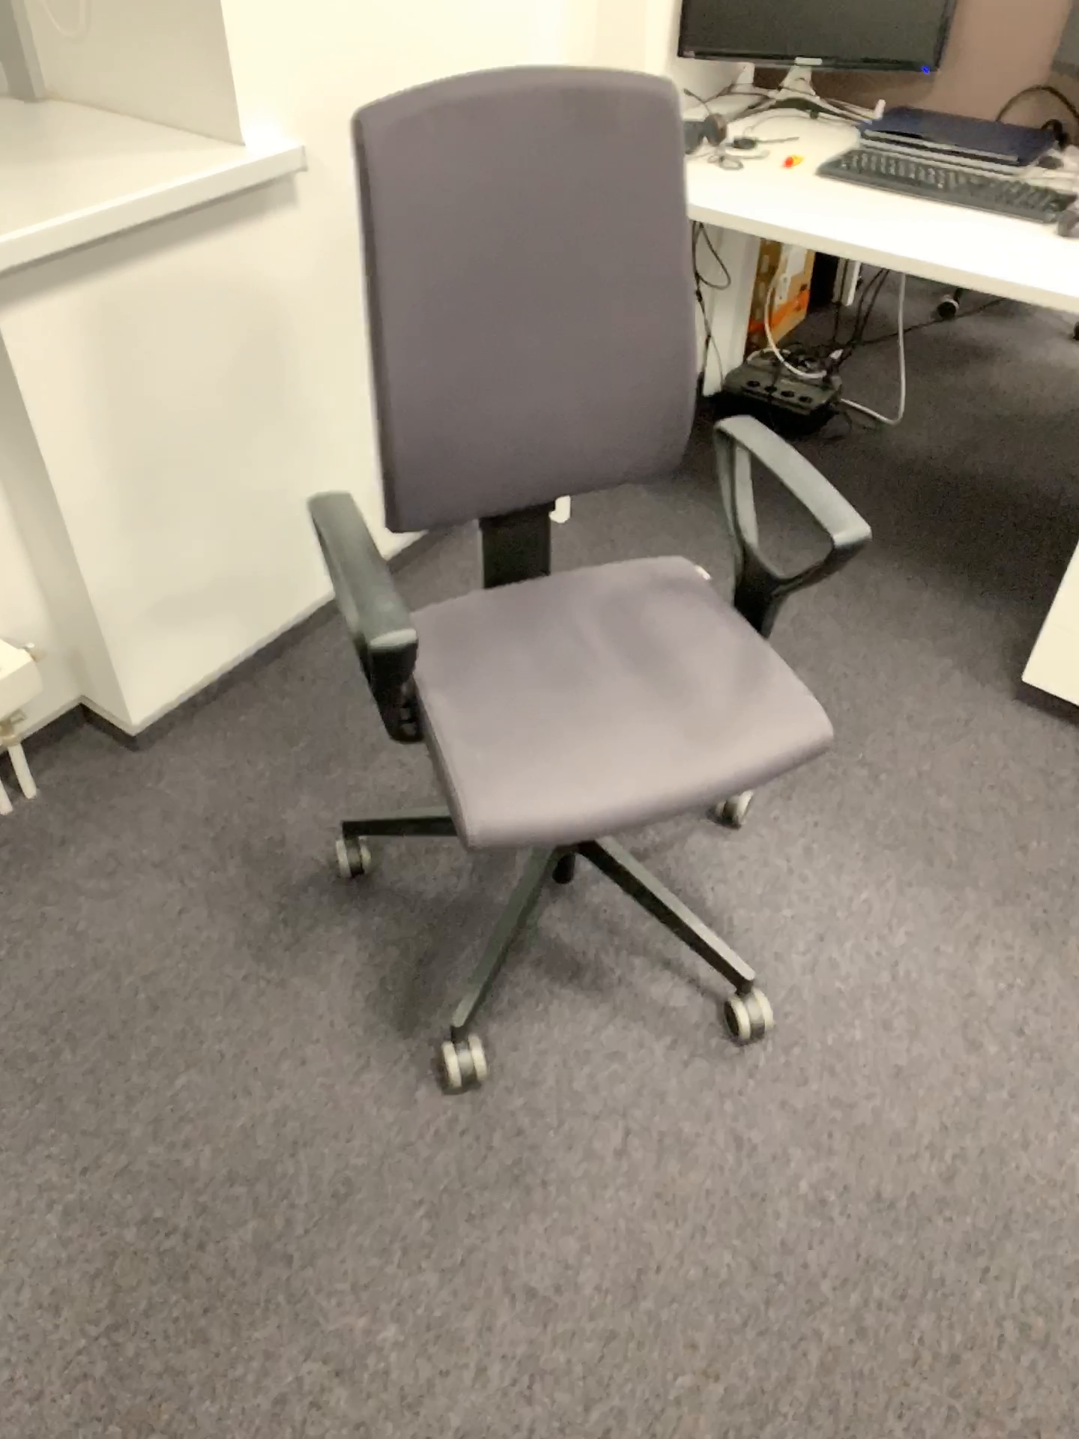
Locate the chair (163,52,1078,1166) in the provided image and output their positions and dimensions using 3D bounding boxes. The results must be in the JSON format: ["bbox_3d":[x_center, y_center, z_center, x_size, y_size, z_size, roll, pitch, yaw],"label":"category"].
[{"bbox_3d":[0.045,-0.144,1.383,0.701,1.044,0.753,-14,44,-16],"label":"chair"}]
